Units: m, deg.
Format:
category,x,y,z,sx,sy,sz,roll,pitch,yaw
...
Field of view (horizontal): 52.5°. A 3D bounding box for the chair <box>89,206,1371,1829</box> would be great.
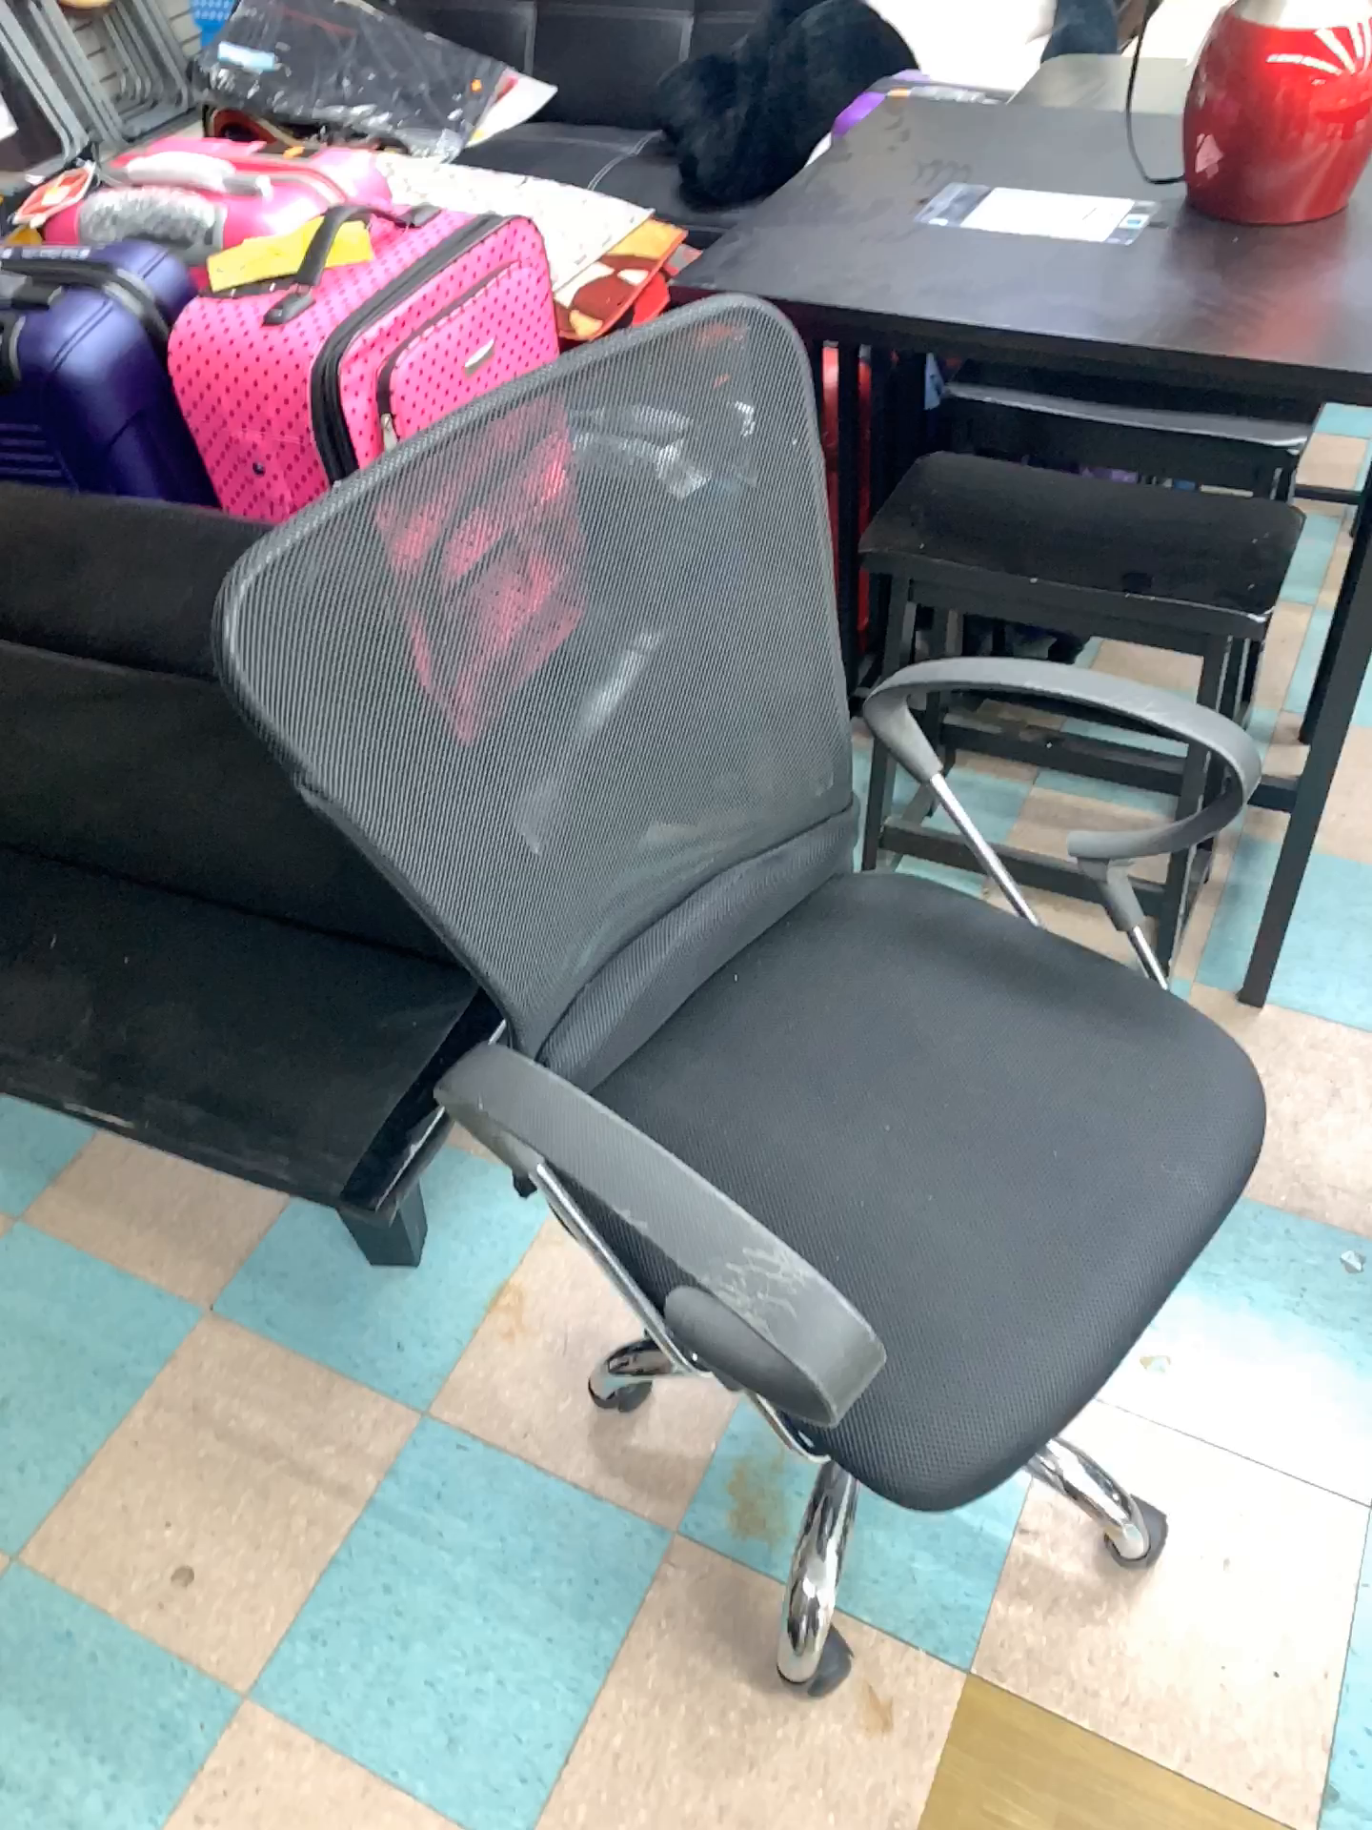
category,x,y,z,sx,sy,sz,roll,pitch,yaw
chair,0.161,0.144,1.080,0.601,1.020,0.622,30,56,30
